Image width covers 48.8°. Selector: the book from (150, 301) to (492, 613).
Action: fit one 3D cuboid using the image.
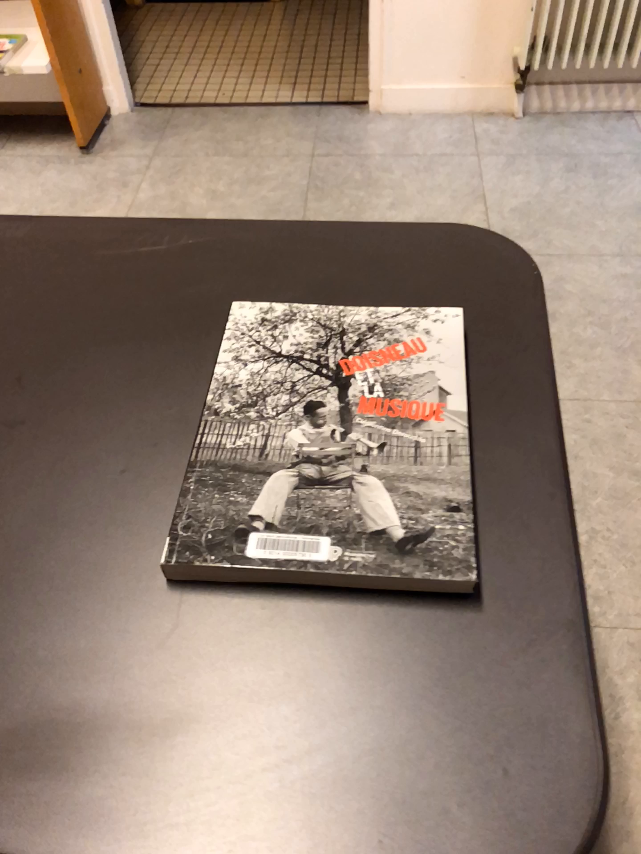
[{"bbox_3d":[0.011,0.003,0.495,0.194,0.030,0.251,3,47,5],"label":"book"}]
